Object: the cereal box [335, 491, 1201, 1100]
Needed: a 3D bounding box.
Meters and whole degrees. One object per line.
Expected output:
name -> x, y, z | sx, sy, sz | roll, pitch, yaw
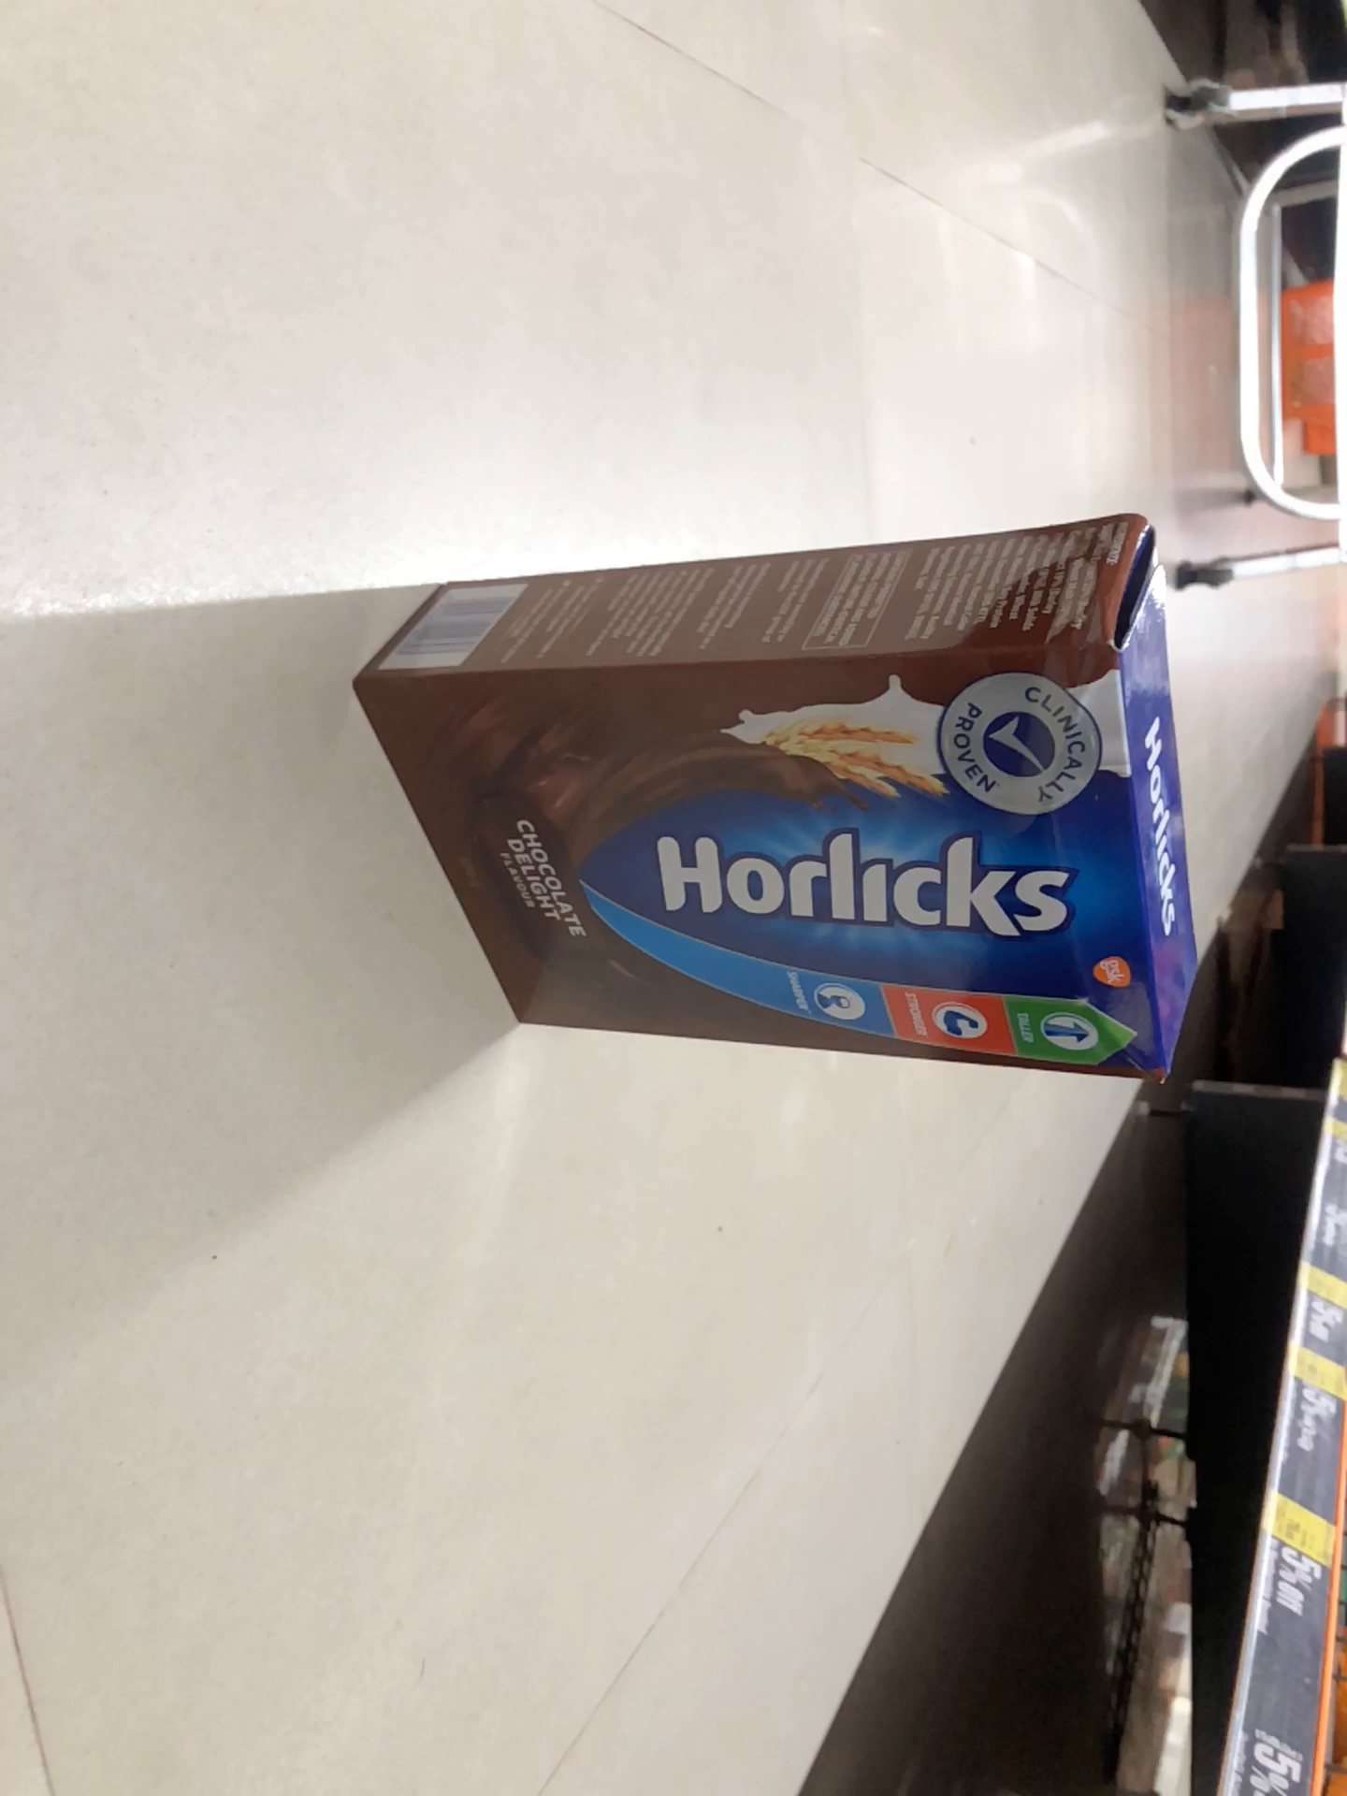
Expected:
cereal box -> 0.031, -0.022, 0.407 | 0.060, 0.199, 0.141 | -62, 143, -43
